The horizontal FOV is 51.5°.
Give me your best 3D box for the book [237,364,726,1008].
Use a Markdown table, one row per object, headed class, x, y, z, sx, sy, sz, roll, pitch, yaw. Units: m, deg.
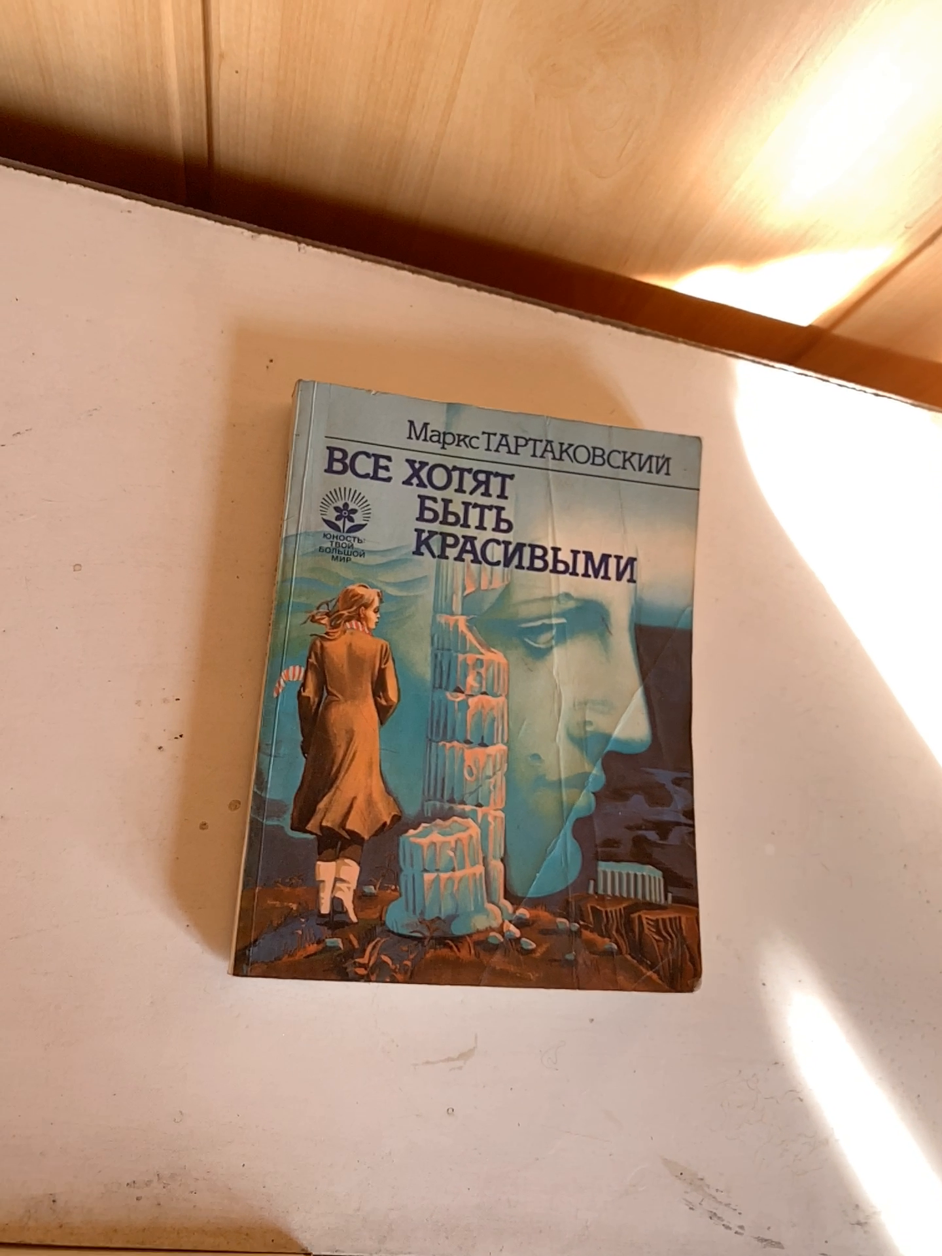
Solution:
| class | x | y | z | sx | sy | sz | roll | pitch | yaw |
| --- | --- | --- | --- | --- | --- | --- | --- | --- | --- |
| book | 0.008 | 0.014 | 0.261 | 0.120 | 0.013 | 0.160 | 5 | 76 | -10 |
